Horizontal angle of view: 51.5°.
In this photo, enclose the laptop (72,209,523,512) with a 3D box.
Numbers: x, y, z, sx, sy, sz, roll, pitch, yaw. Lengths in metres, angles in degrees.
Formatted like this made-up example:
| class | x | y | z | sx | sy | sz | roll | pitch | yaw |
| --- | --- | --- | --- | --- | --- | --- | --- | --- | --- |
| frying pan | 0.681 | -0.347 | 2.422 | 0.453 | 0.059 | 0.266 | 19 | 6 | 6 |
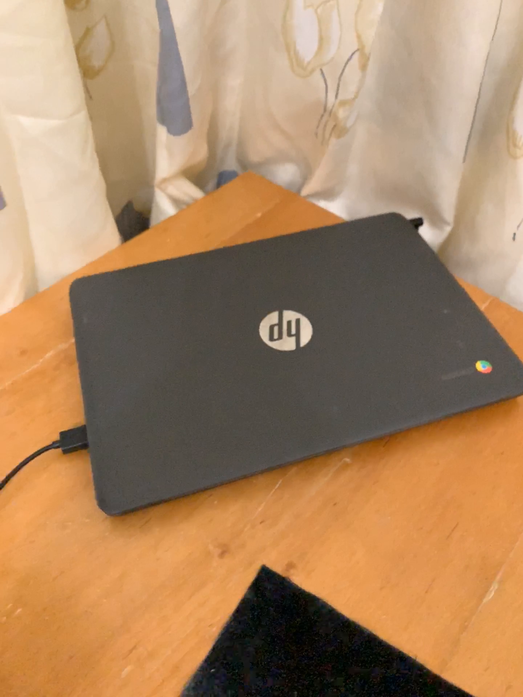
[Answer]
| class | x | y | z | sx | sy | sz | roll | pitch | yaw |
| --- | --- | --- | --- | --- | --- | --- | --- | --- | --- |
| laptop | 0.014 | -0.015 | 0.363 | 0.261 | 0.004 | 0.186 | -14 | 50 | -11 |
